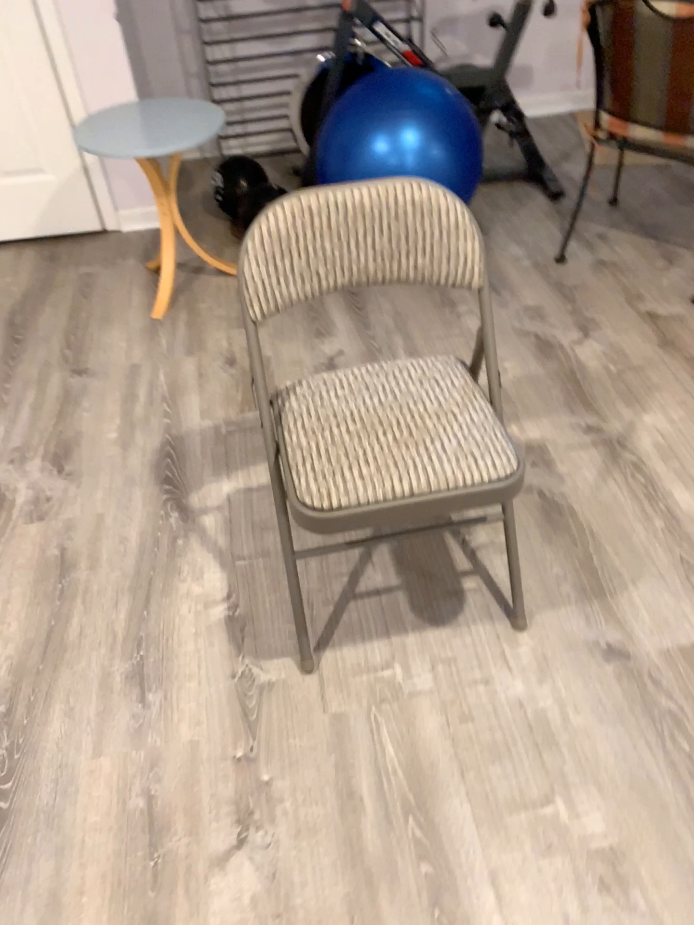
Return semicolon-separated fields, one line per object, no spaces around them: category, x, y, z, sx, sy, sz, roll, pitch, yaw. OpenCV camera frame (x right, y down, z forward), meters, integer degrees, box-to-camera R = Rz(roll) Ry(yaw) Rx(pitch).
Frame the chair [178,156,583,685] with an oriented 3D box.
chair;0.023;-0.077;1.347;0.501;0.708;0.589;-11;44;-6
